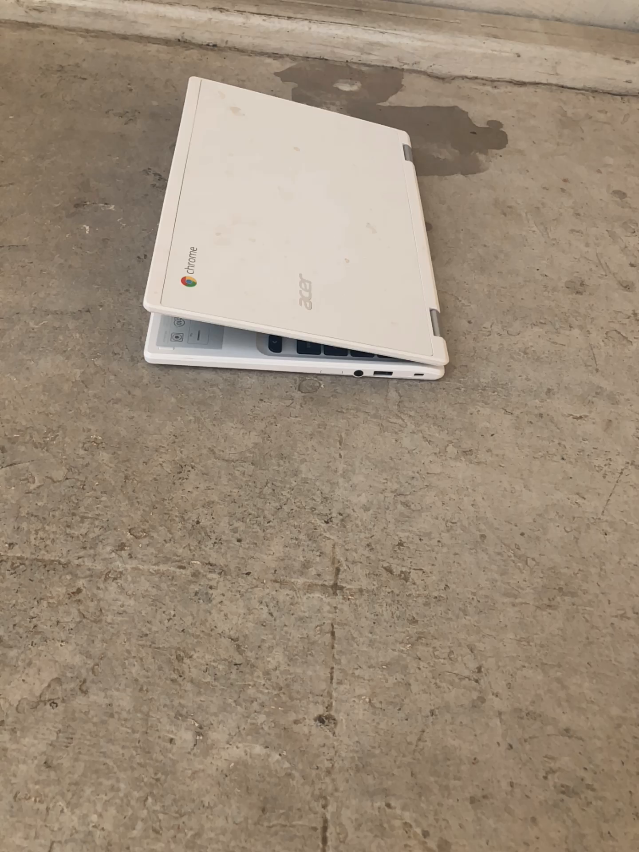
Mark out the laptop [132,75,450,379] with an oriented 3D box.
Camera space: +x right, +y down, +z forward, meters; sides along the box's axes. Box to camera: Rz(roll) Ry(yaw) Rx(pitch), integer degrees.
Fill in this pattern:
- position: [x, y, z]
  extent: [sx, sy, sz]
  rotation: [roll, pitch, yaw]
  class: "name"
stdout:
- position: [-0.018, -0.160, 0.523]
  extent: [0.190, 0.046, 0.280]
  rotation: [4, 51, -6]
  class: "laptop"
